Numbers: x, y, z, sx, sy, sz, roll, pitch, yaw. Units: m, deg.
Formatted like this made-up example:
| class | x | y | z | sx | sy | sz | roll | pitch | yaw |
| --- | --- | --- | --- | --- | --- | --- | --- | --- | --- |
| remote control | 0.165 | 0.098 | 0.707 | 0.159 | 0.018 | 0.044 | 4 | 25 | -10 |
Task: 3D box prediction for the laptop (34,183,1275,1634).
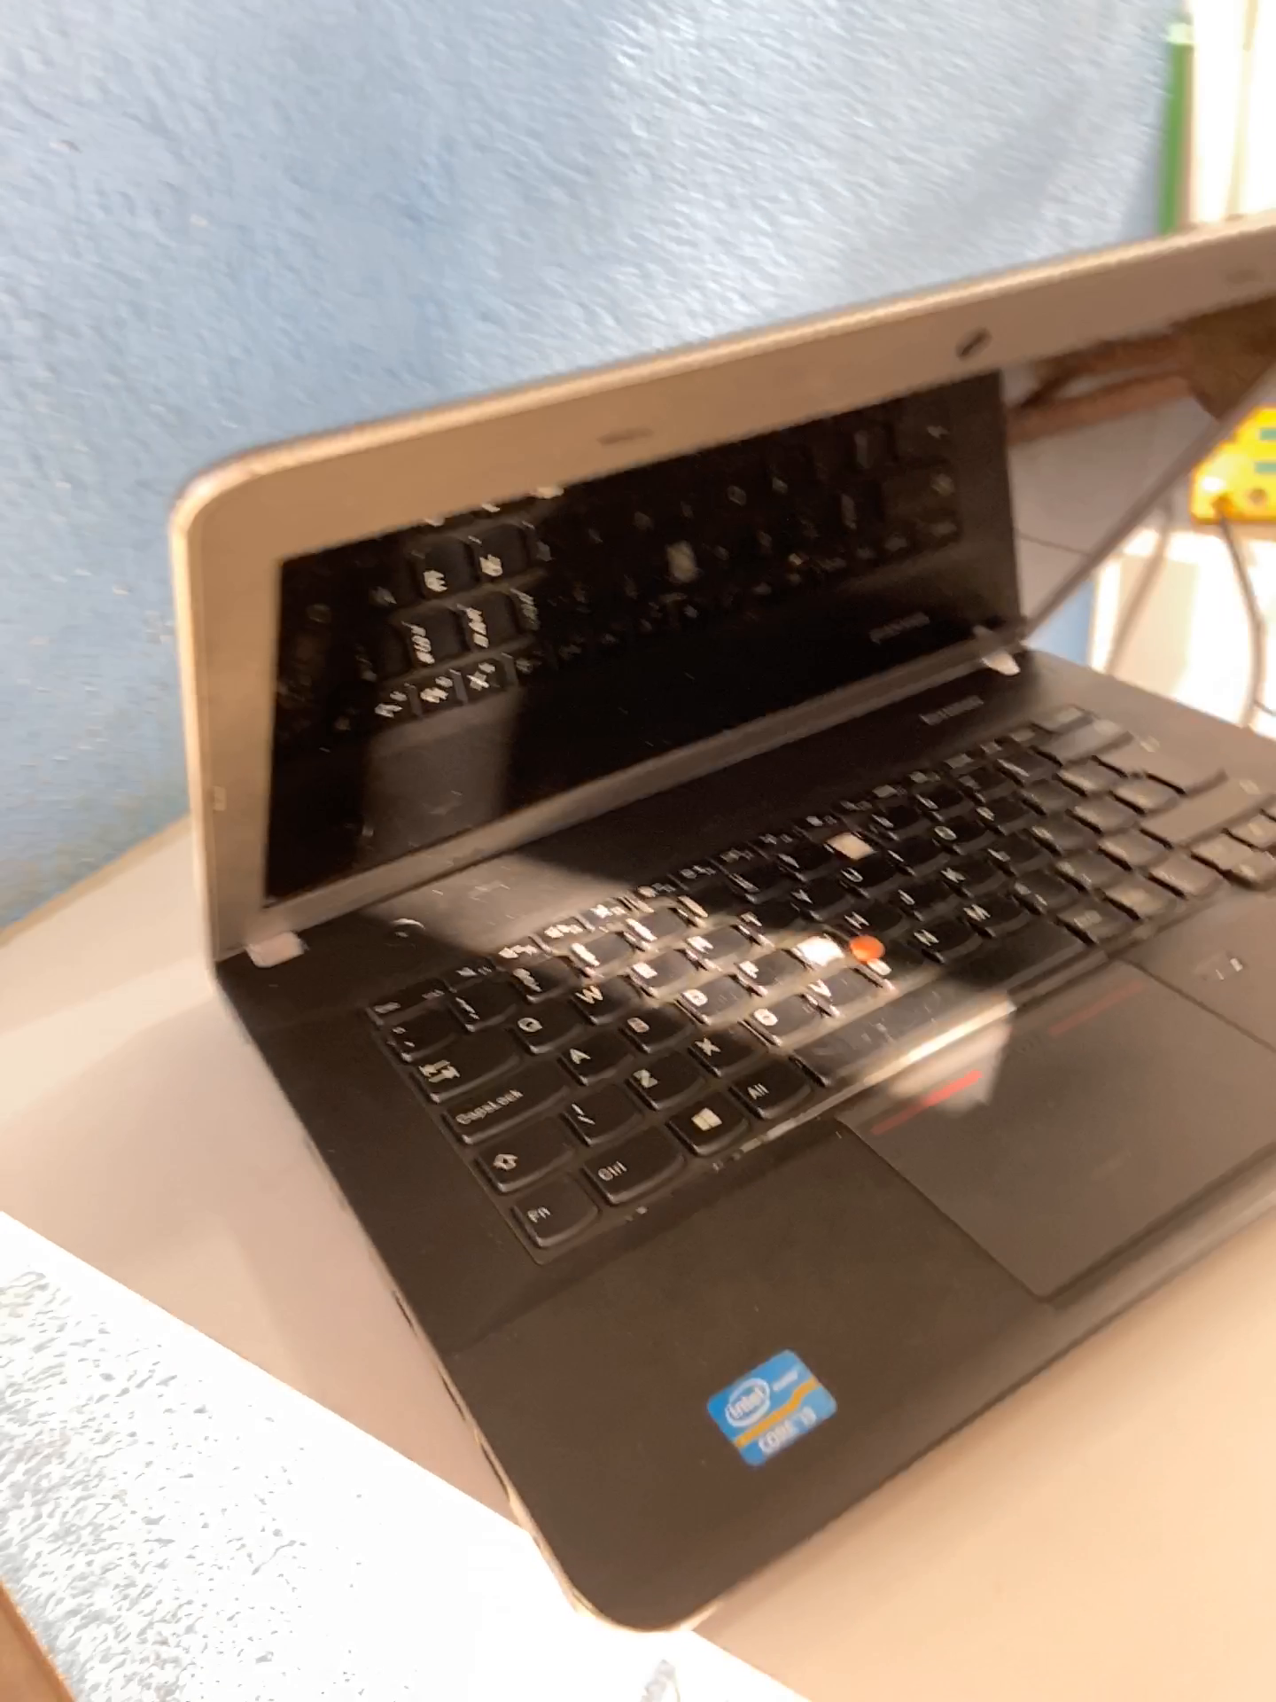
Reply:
| class | x | y | z | sx | sy | sz | roll | pitch | yaw |
| --- | --- | --- | --- | --- | --- | --- | --- | --- | --- |
| laptop | 0.067 | -0.049 | 0.329 | 0.331 | 0.165 | 0.231 | -23 | 34 | -24 |
